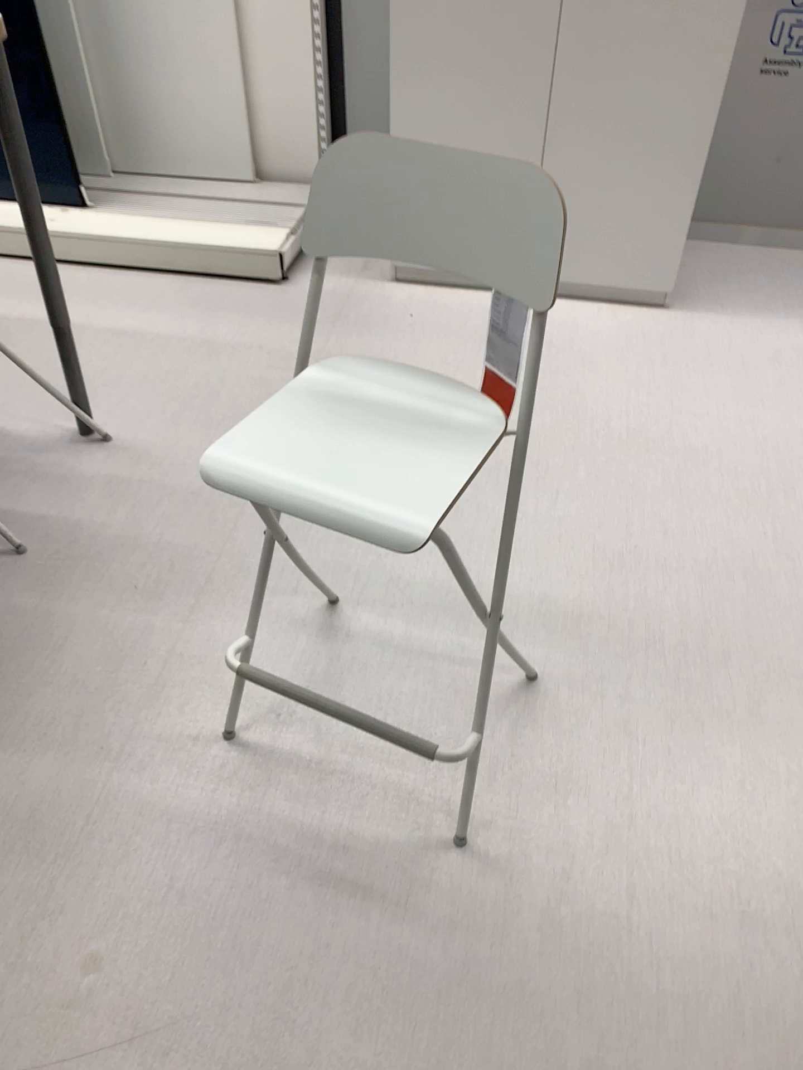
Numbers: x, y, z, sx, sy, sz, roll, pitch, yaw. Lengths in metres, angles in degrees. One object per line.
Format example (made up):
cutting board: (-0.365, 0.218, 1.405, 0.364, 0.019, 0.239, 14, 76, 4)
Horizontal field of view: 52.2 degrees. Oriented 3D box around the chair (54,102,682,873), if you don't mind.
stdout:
chair: (-0.012, -0.032, 1.230, 0.521, 0.936, 0.501, 19, 47, 18)
